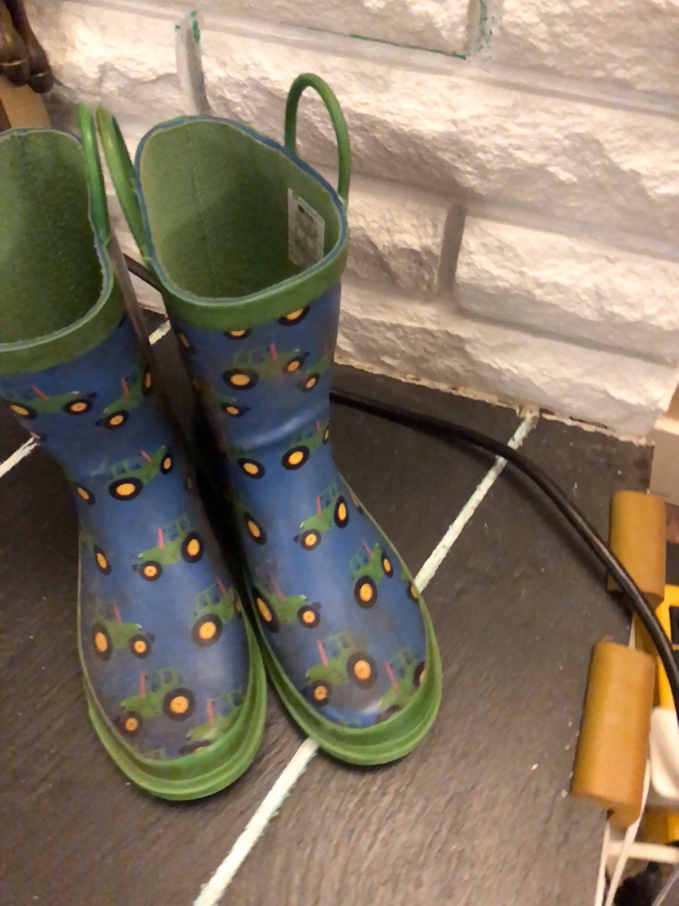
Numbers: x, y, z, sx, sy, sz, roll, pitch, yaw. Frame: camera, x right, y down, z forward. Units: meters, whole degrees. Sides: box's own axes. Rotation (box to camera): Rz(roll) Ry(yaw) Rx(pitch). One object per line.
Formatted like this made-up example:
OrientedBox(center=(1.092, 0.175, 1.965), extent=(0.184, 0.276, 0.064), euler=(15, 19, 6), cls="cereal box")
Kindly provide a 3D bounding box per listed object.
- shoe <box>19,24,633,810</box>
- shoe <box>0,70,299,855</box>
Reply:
OrientedBox(center=(-0.025, -0.006, 0.328), extent=(0.100, 0.229, 0.241), euler=(-22, 57, -15), cls="shoe")
OrientedBox(center=(-0.098, 0.018, 0.323), extent=(0.100, 0.239, 0.231), euler=(-12, 56, -8), cls="shoe")
